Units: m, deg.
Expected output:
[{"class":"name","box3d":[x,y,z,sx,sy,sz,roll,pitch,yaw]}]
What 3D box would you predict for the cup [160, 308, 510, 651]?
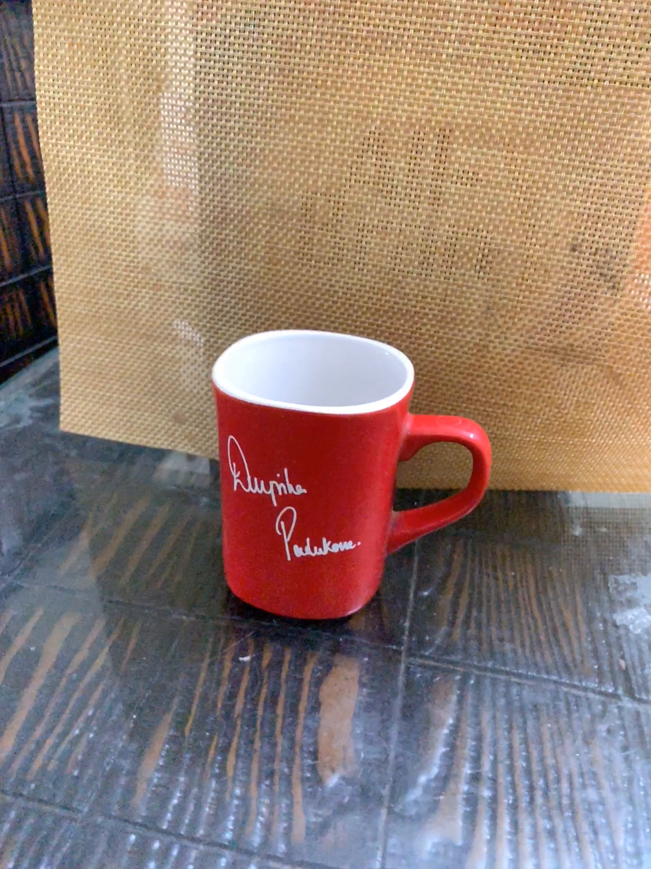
[{"class":"cup","box3d":[0.006,0.010,0.240,0.100,0.079,0.071,9,29,12]}]
